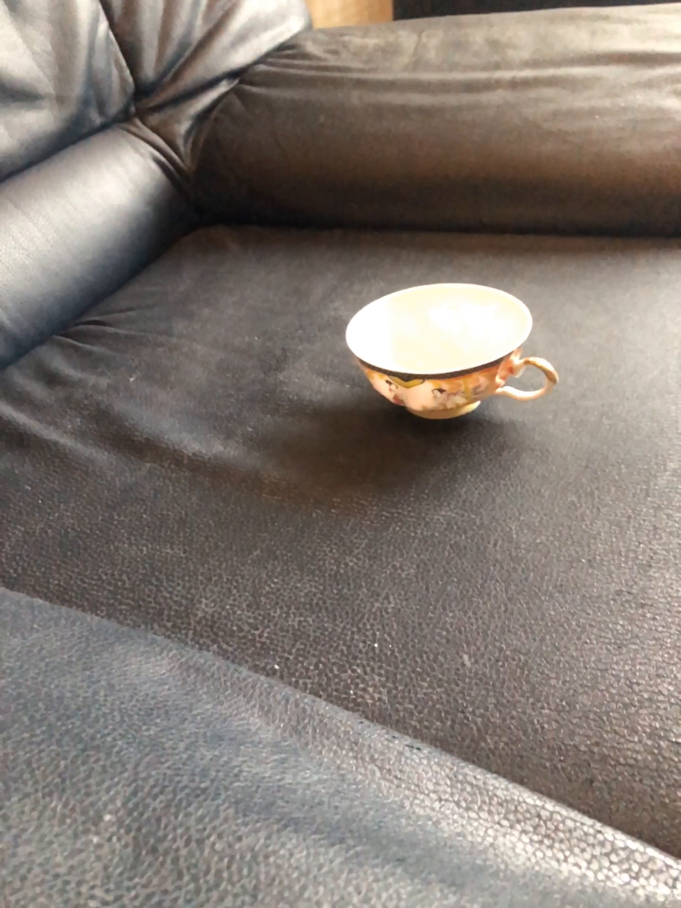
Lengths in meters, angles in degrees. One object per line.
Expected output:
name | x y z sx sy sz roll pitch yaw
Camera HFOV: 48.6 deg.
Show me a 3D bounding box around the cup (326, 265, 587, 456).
cup | 0.065 -0.056 0.406 0.107 0.041 0.101 -4 37 3
